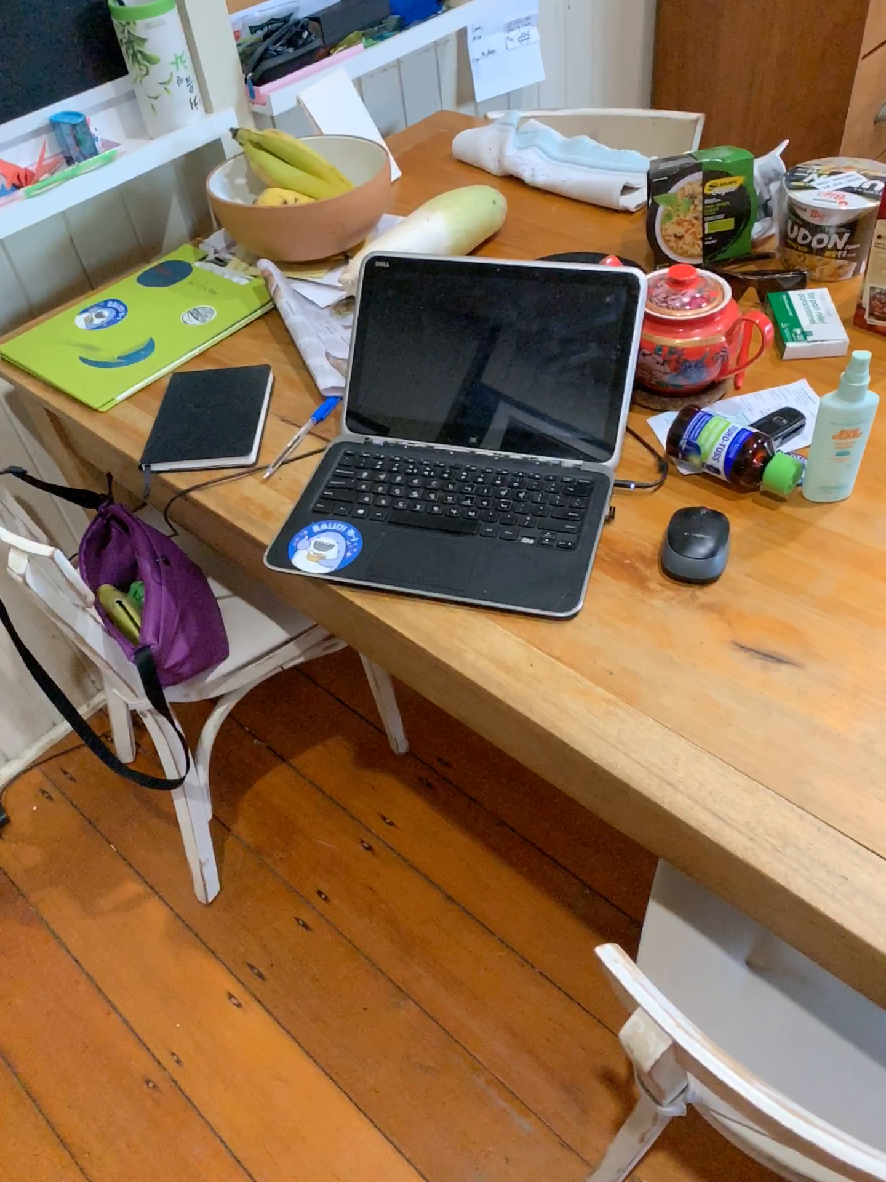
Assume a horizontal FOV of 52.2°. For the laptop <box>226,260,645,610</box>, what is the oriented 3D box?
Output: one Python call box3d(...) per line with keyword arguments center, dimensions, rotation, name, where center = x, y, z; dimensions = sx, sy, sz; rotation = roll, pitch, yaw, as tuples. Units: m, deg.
box3d(center=(0.016, -0.173, 0.896), dimensions=(0.303, 0.139, 0.340), rotation=(9, 49, 15), name="laptop")
